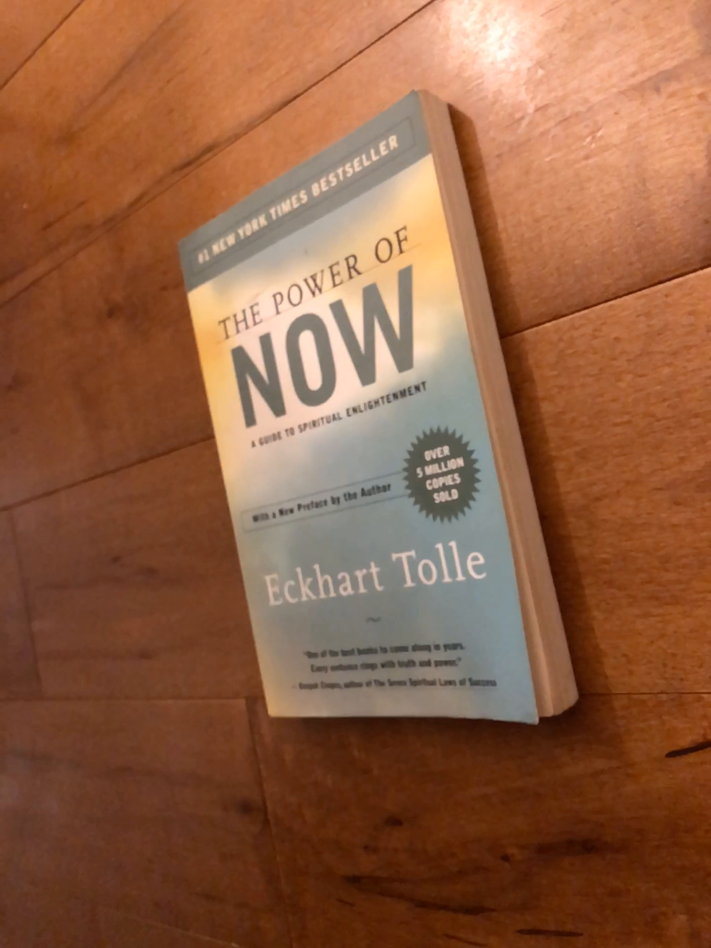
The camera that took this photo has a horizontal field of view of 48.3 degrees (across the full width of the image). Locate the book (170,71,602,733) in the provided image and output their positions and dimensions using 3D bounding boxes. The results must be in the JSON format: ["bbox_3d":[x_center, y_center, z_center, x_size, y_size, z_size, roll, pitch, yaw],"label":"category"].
[{"bbox_3d":[-0.001,-0.014,0.316,0.147,0.030,0.222,-15,83,40],"label":"book"}]
